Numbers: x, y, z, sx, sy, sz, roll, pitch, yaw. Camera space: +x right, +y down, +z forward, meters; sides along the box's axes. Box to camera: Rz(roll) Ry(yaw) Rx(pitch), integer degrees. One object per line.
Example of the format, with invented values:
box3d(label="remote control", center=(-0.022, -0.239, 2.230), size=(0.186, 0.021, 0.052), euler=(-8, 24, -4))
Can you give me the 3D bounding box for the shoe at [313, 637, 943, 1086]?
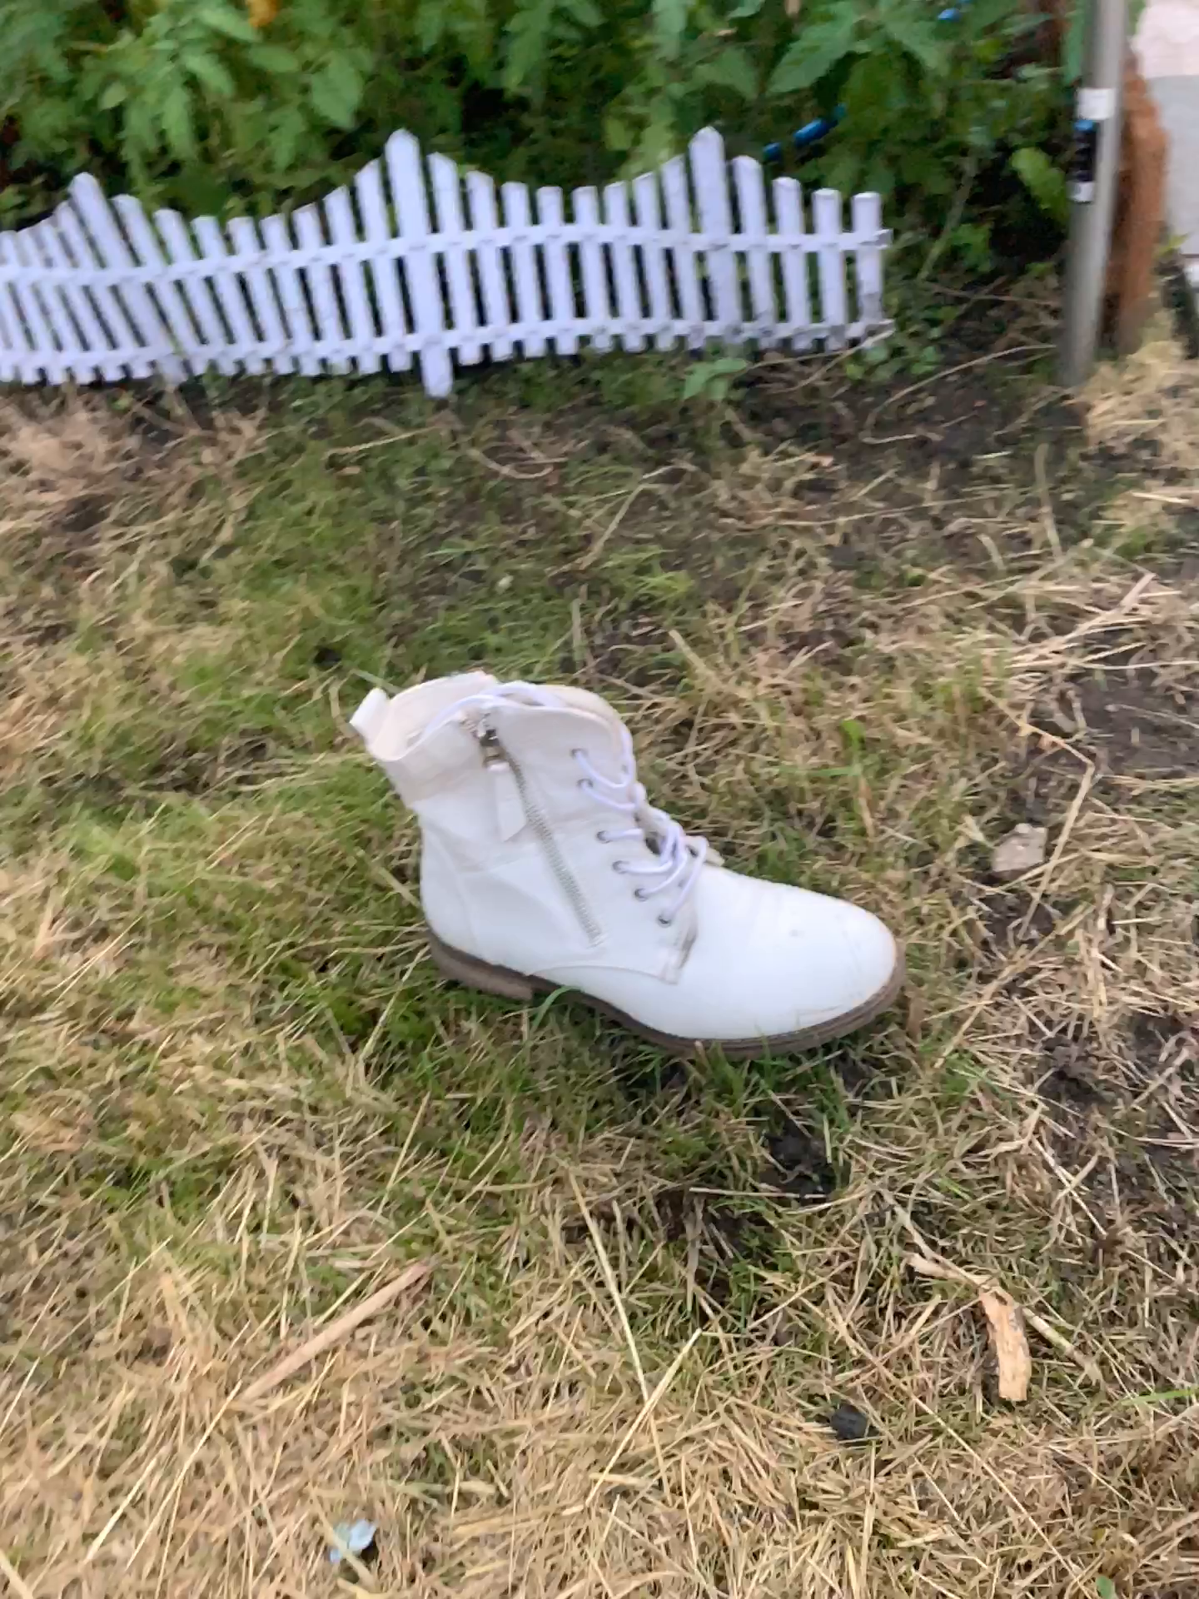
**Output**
box3d(label="shoe", center=(0.025, 0.029, 0.598), size=(0.260, 0.178, 0.101), euler=(5, 49, 17))
